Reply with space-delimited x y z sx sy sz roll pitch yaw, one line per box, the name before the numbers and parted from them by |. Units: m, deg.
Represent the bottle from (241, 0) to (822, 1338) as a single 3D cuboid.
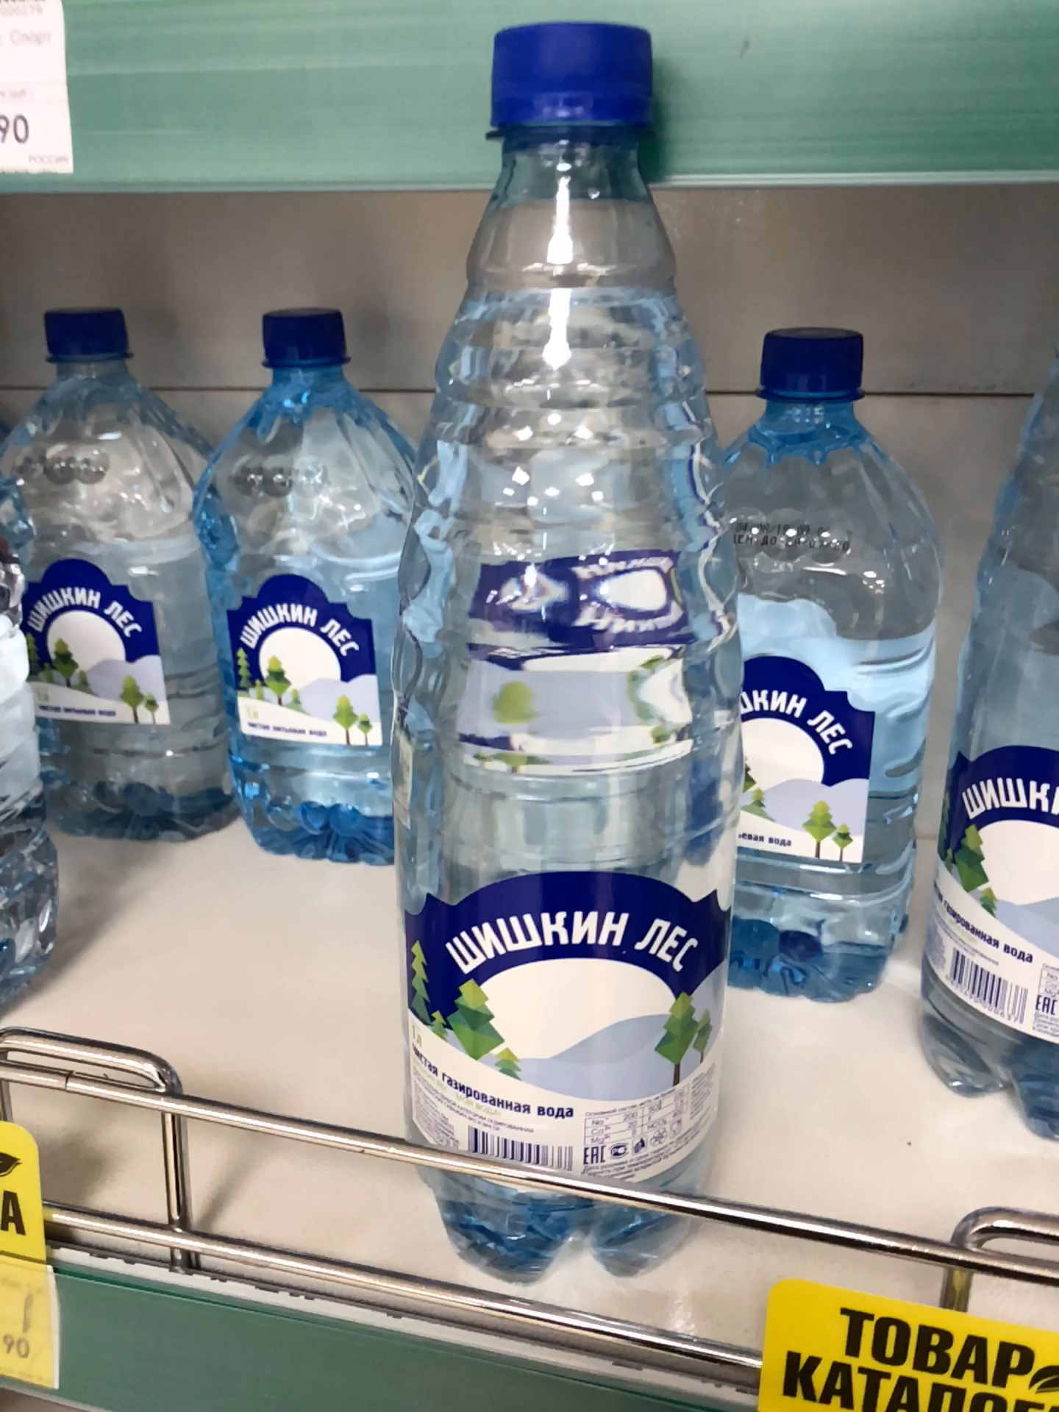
bottle | 0.008 0.004 0.267 0.090 0.272 0.080 1 21 8
